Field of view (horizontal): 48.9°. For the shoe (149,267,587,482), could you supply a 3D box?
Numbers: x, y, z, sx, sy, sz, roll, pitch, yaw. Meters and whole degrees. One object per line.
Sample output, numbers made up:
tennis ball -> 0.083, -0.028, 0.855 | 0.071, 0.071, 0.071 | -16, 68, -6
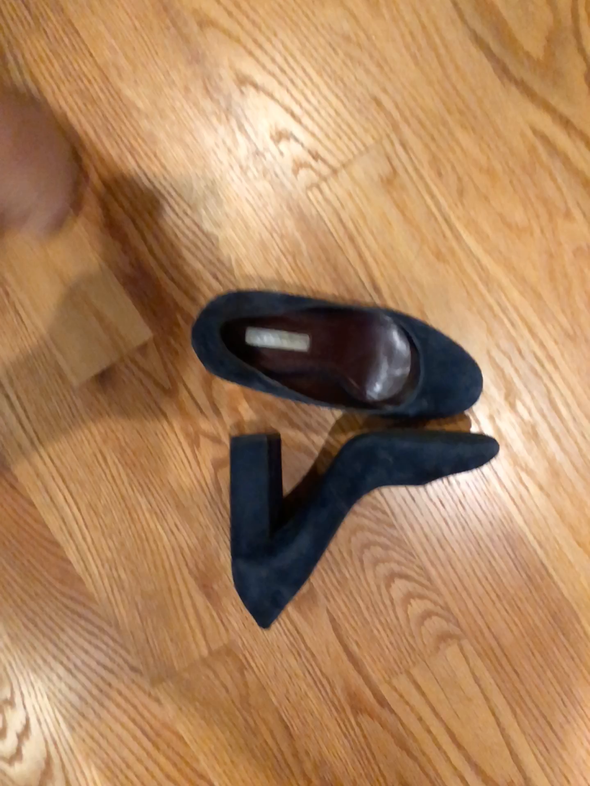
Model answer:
shoe -> 0.042, -0.017, 0.425 | 0.226, 0.147, 0.080 | 10, 95, 4

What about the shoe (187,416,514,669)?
shoe -> 0.039, 0.102, 0.463 | 0.204, 0.080, 0.152 | -3, 94, 5
